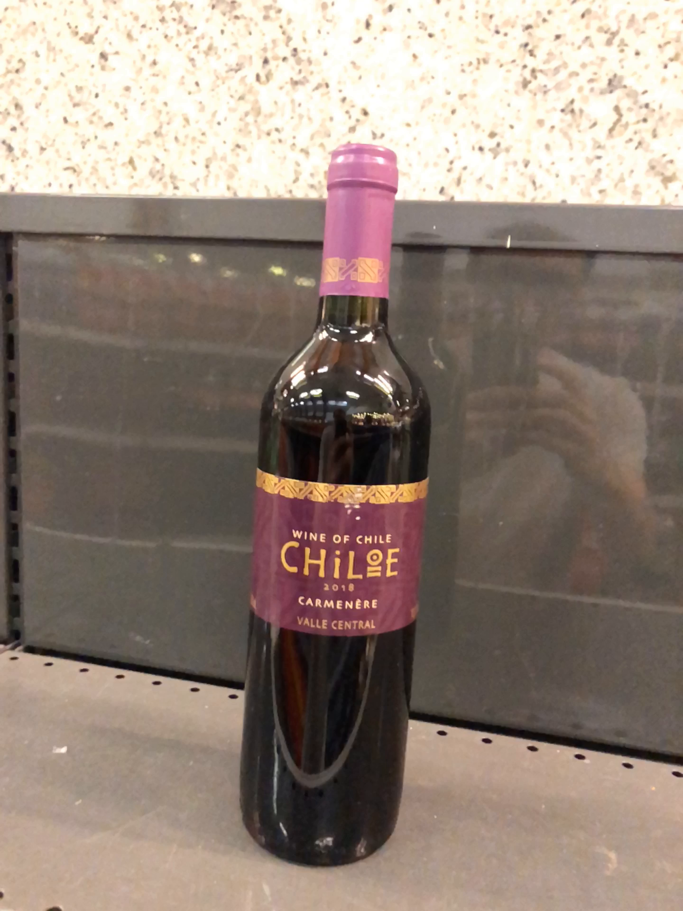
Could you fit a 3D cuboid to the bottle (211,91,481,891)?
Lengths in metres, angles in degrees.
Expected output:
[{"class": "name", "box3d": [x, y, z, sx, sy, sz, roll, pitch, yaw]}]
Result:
[{"class": "bottle", "box3d": [-0.004, 0.021, 0.339, 0.090, 0.319, 0.080, 3, 10, -2]}]
